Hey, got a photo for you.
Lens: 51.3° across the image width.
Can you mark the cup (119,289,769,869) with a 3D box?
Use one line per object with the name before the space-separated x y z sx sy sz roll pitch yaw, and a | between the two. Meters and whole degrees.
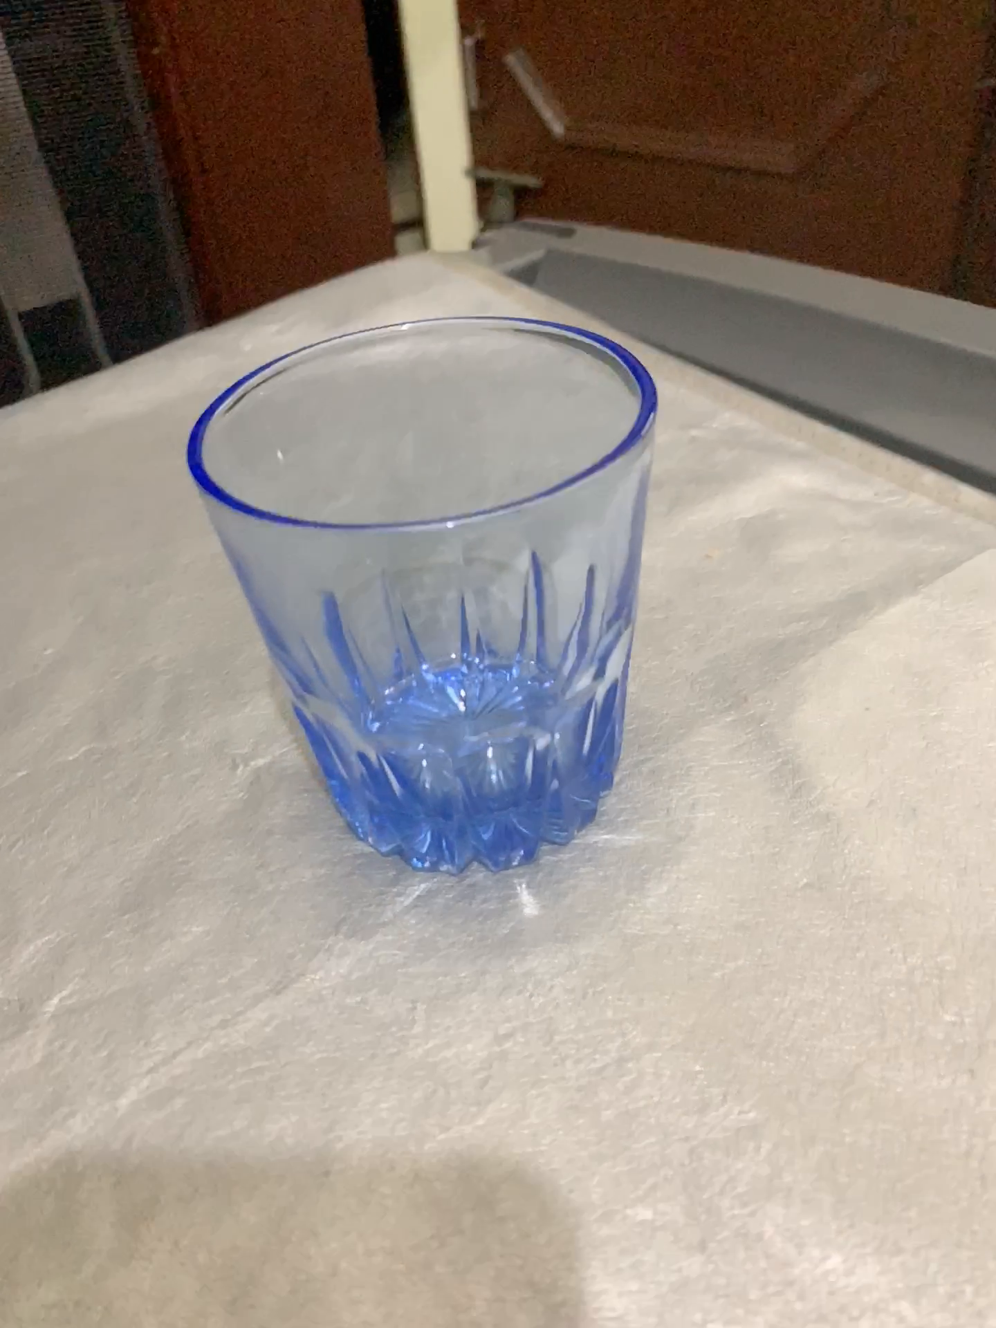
cup | -0.003 -0.019 0.199 0.090 0.070 0.090 -4 38 3
